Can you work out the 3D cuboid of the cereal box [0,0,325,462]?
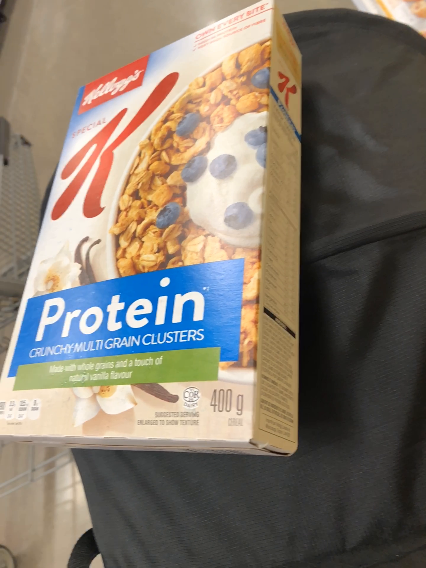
[{"bbox_3d":[-0.033,-0.043,0.288,0.190,0.050,0.270,-10,59,30],"label":"cereal box"}]
